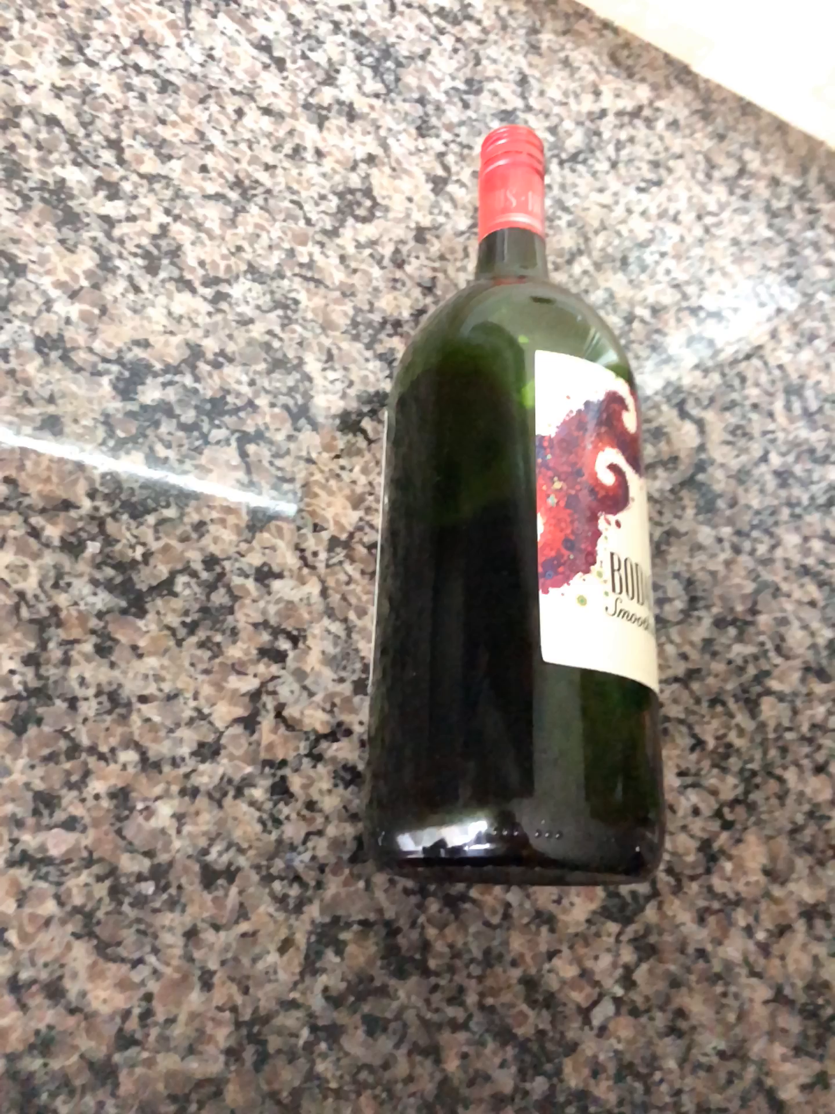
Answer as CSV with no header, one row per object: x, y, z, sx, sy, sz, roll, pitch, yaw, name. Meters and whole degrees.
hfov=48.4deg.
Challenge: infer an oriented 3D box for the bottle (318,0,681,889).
0.037,-0.052,0.370,0.100,0.110,0.340,-2,67,11,bottle
